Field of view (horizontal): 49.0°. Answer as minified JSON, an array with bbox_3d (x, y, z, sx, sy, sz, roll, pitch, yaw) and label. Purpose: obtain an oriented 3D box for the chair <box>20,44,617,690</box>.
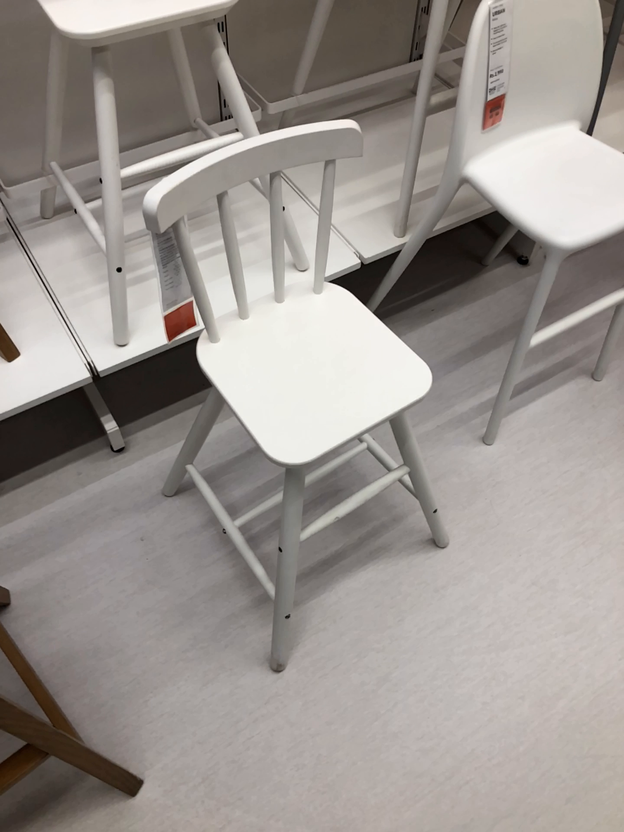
[{"bbox_3d":[-0.016,-0.022,1.096,0.471,0.796,0.502,-30,60,-21],"label":"chair"}]
